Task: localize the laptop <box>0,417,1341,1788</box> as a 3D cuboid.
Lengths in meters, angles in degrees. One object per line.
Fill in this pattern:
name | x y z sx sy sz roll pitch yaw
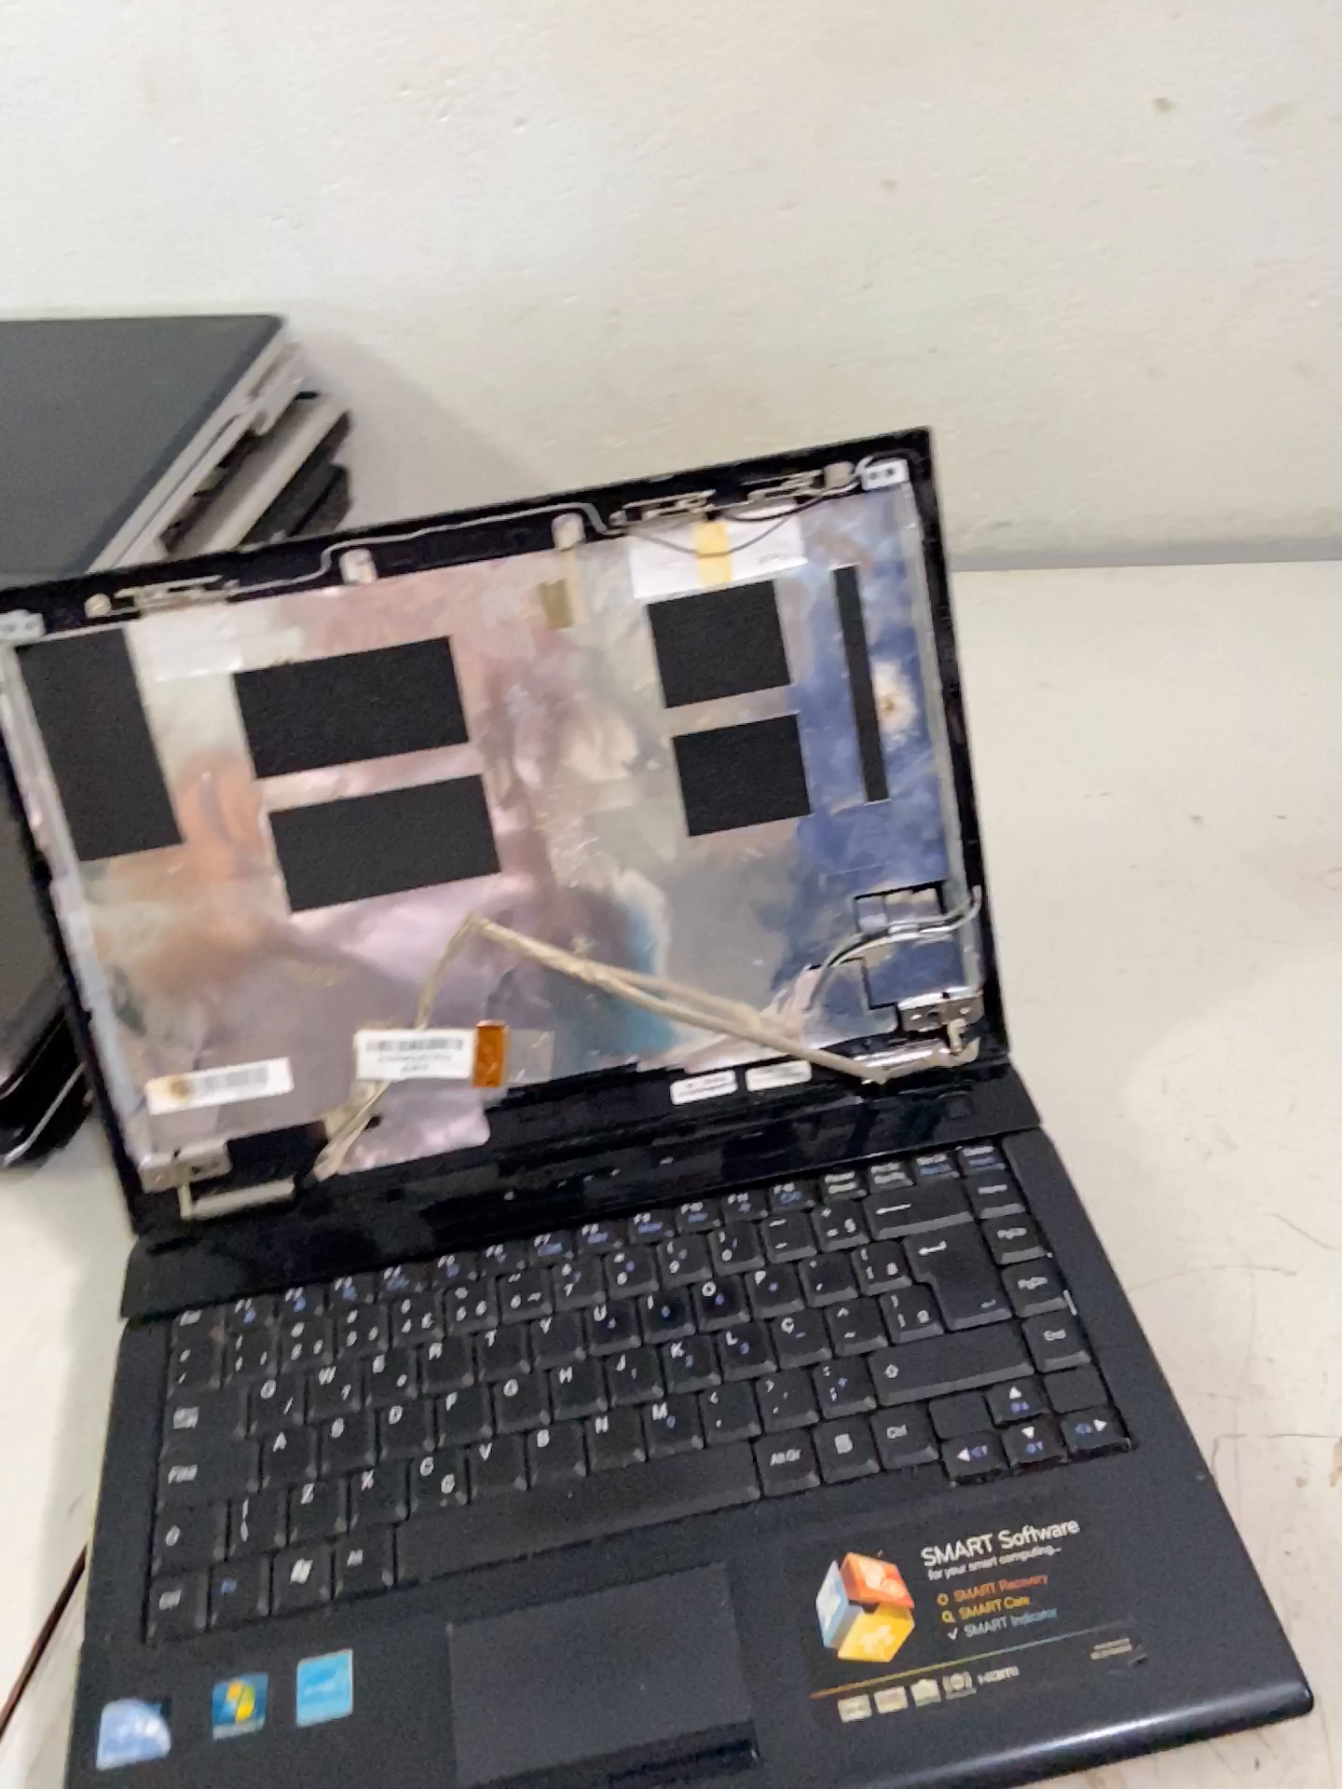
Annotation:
laptop | -0.033 0.059 0.407 0.333 0.206 0.337 -12 43 -2
